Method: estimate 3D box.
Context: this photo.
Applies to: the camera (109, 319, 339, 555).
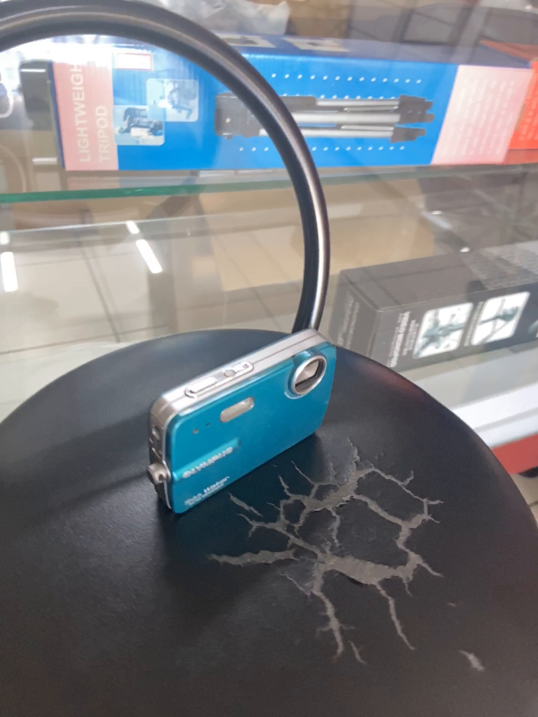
[{"bbox_3d":[-0.018,0.033,0.258,0.100,0.070,0.030,-25,48,-34],"label":"camera"}]
